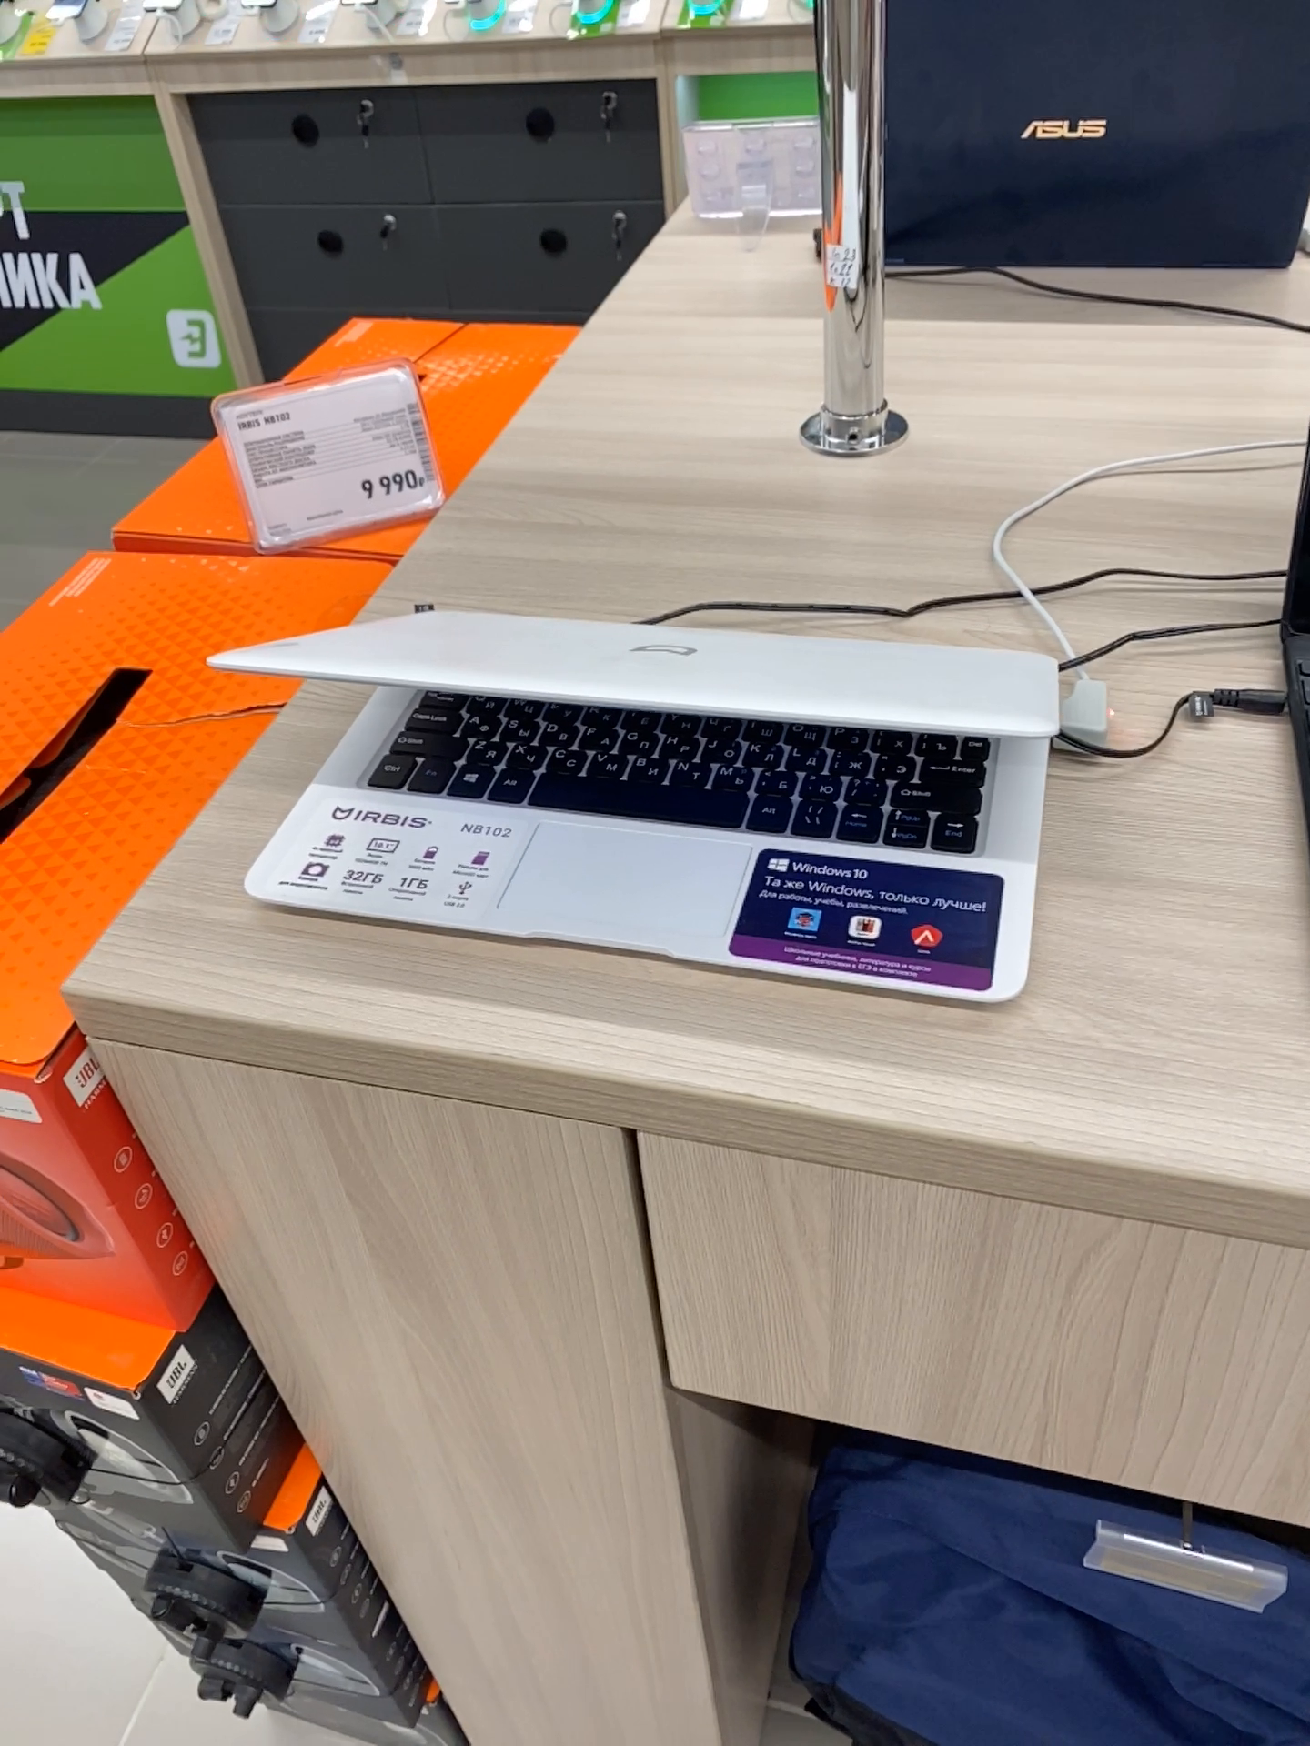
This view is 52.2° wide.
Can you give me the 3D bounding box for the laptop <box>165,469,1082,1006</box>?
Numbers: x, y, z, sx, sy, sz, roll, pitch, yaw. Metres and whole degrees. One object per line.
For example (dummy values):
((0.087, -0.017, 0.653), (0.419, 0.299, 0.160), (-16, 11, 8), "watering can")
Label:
((0.001, -0.064, 0.487), (0.280, 0.078, 0.179), (7, 44, 15), "laptop")
